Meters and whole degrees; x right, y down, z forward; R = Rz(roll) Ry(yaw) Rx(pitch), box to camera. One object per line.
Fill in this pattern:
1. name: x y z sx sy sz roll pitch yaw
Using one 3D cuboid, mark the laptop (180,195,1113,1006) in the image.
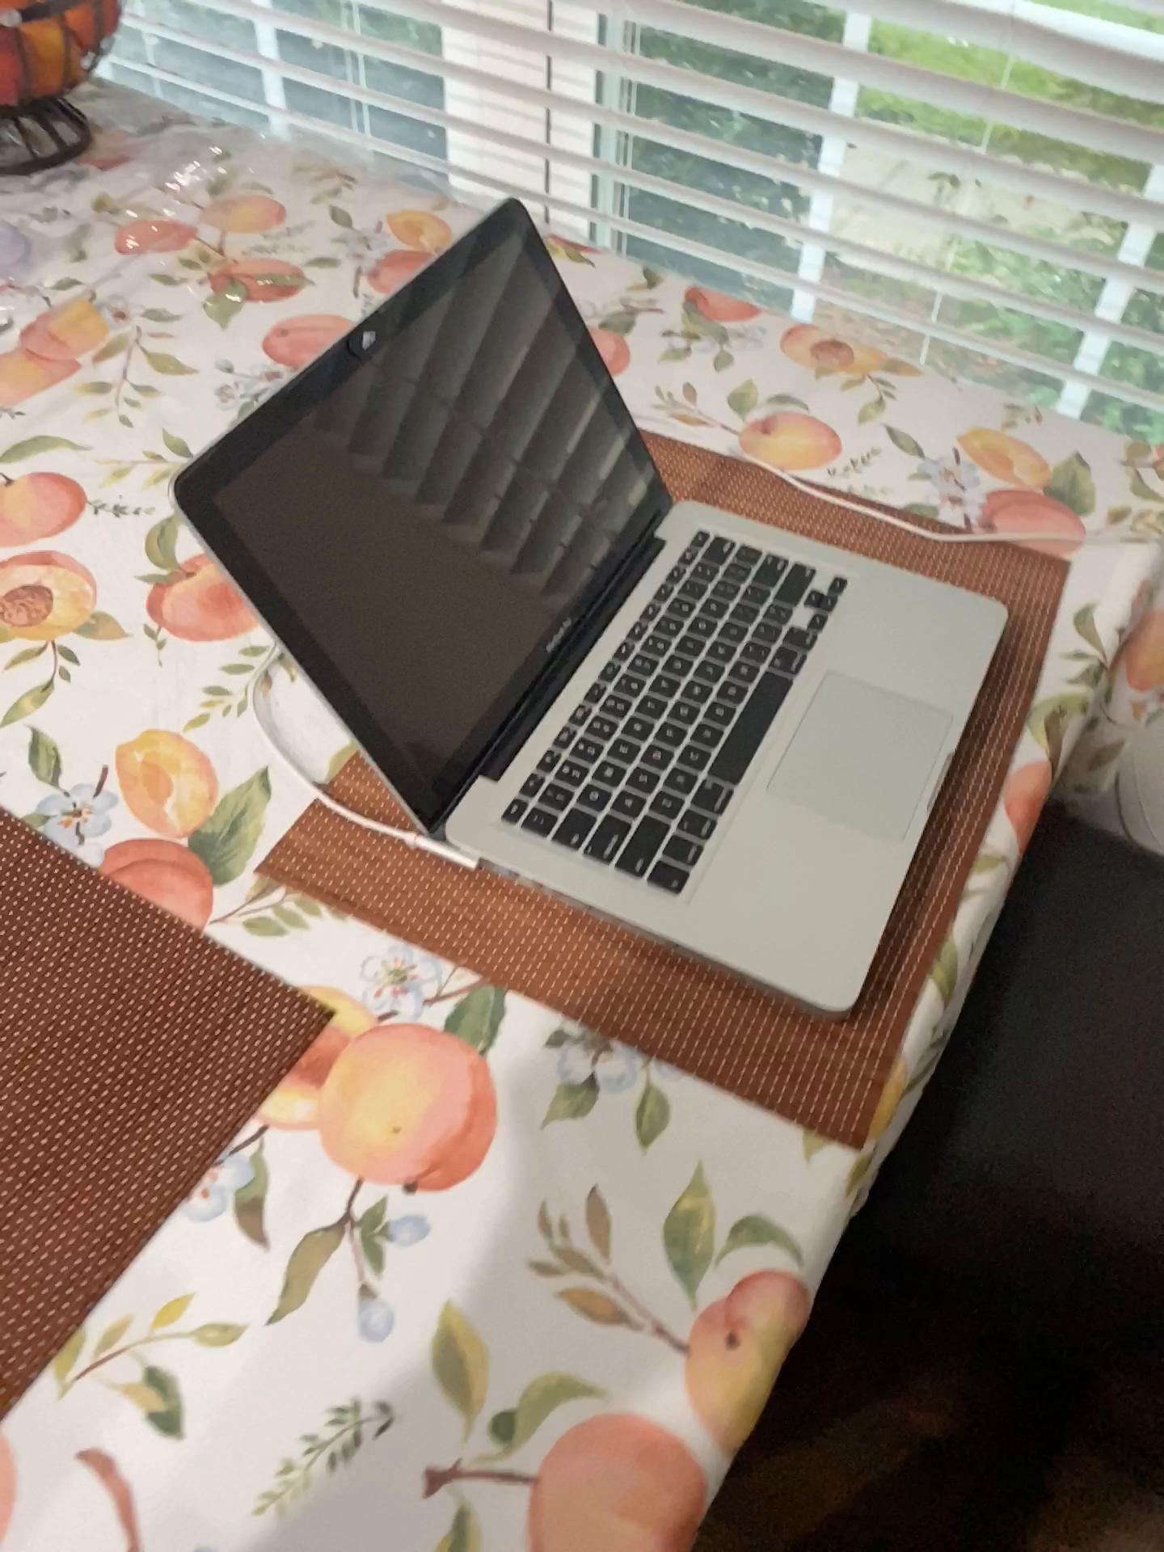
1. laptop: 0.046 -0.118 0.631 0.348 0.162 0.318 22 54 15
